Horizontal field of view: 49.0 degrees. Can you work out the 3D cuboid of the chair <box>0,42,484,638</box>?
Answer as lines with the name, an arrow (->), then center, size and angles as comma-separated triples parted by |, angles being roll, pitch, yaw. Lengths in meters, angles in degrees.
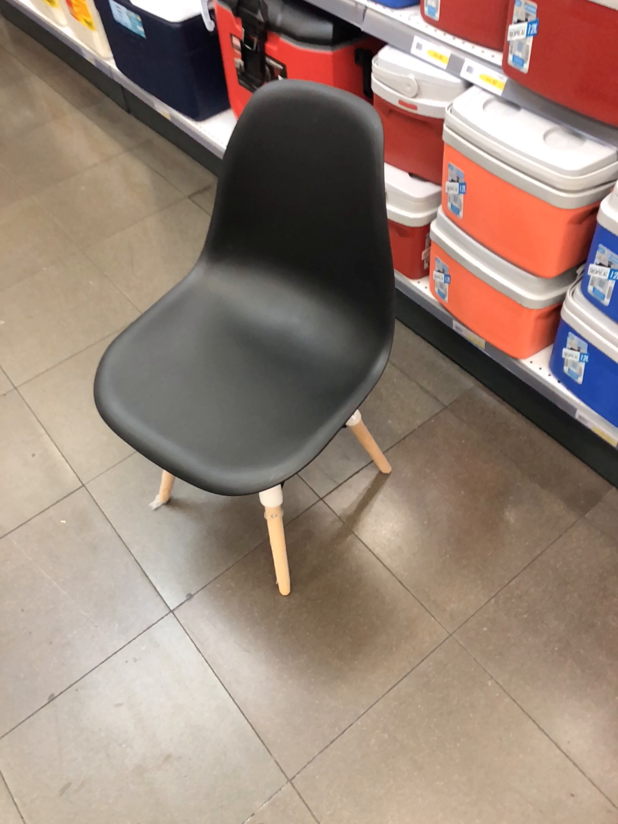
chair -> -0.100, -0.105, 1.183 | 0.501, 0.725, 0.552 | 30, 60, 26
